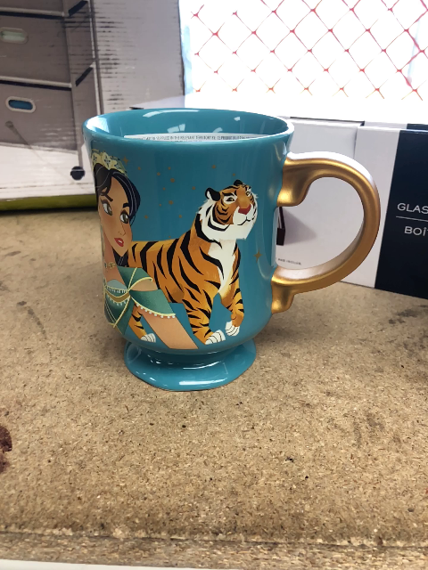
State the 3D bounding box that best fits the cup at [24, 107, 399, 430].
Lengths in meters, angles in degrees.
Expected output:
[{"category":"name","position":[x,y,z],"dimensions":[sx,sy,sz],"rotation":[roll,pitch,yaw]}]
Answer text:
[{"category":"cup","position":[0.006,-0.019,0.242],"dimensions":[0.140,0.120,0.099],"rotation":[6,27,13]}]
